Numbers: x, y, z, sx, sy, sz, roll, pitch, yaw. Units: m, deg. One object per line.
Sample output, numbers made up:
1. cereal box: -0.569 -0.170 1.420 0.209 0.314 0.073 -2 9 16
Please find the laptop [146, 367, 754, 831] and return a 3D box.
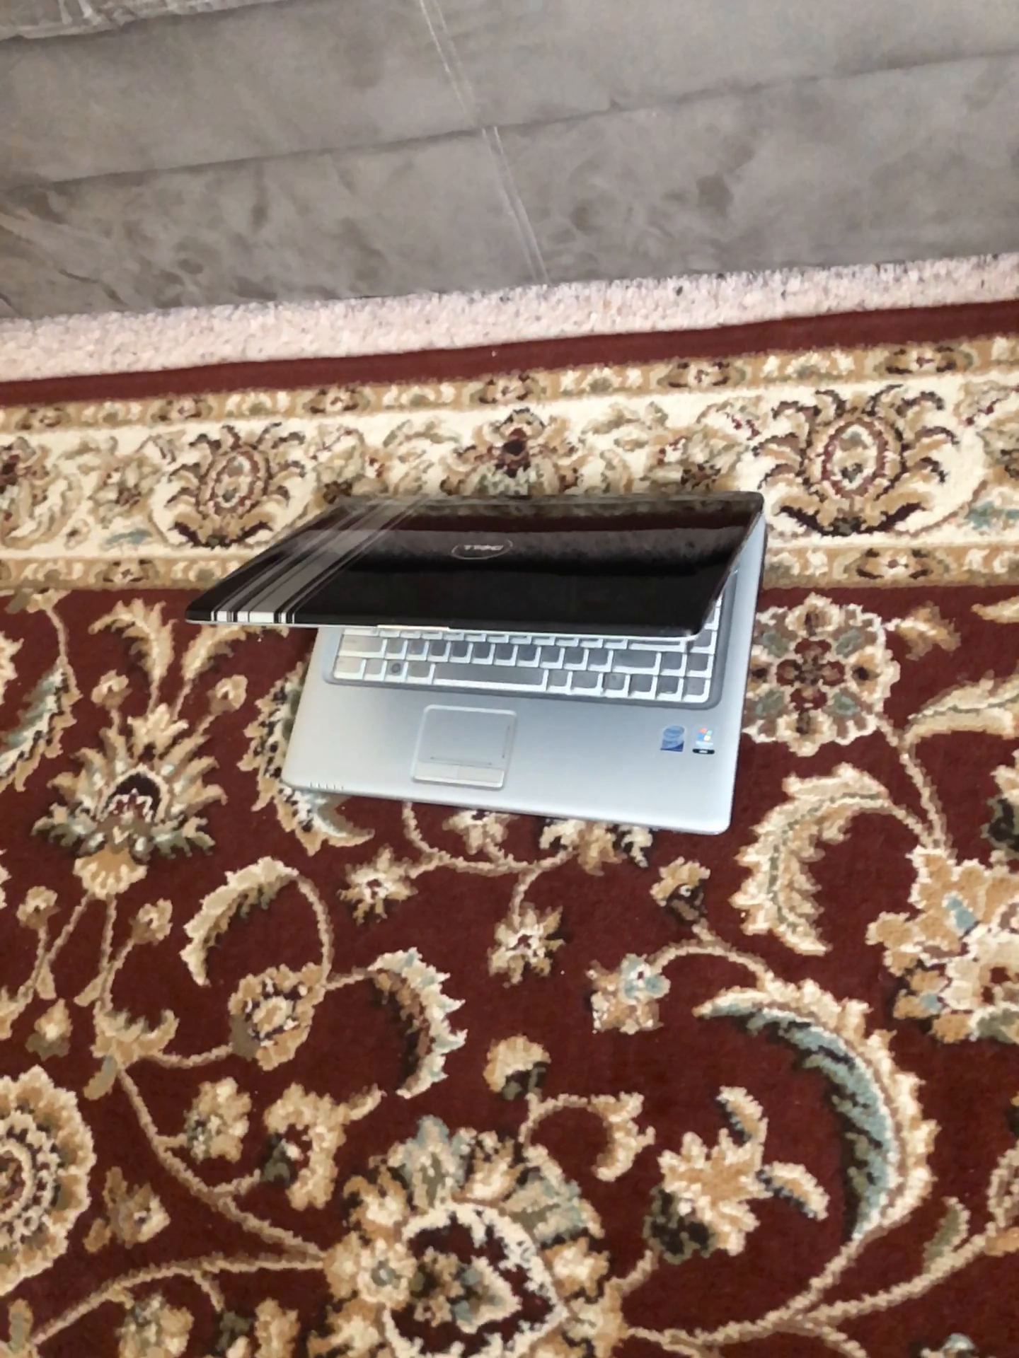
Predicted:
1. laptop: -0.027 -0.053 0.774 0.342 0.164 0.244 3 68 21
